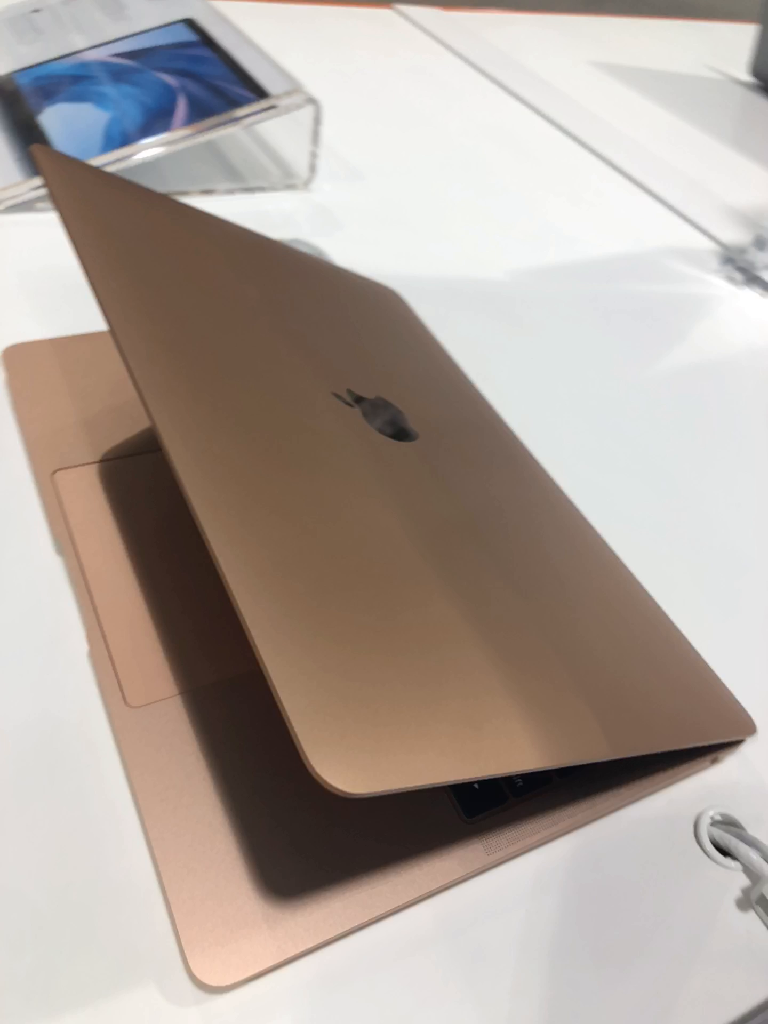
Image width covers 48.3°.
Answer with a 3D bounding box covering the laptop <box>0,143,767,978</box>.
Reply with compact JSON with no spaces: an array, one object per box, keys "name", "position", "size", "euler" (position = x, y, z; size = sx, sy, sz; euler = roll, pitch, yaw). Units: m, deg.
[{"name":"laptop","position":[-0.015,-0.029,0.326],"size":[0.208,0.091,0.286],"euler":[-13,50,-24]}]
